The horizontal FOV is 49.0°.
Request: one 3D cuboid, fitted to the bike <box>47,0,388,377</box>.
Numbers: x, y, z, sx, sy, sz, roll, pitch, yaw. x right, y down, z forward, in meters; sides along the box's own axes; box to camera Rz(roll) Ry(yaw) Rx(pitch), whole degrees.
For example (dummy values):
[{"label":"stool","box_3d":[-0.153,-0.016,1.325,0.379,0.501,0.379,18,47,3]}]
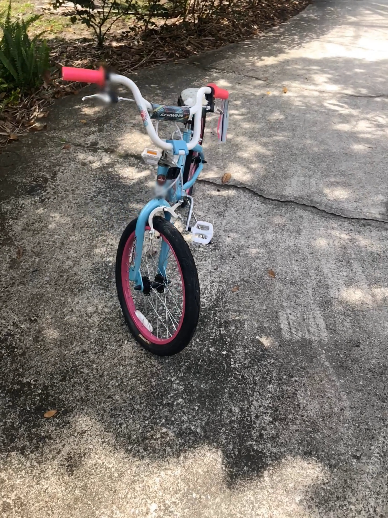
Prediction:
[{"label":"bike","box_3d":[0.050,-0.394,1.671,0.699,0.923,1.317,1,41,2]}]
